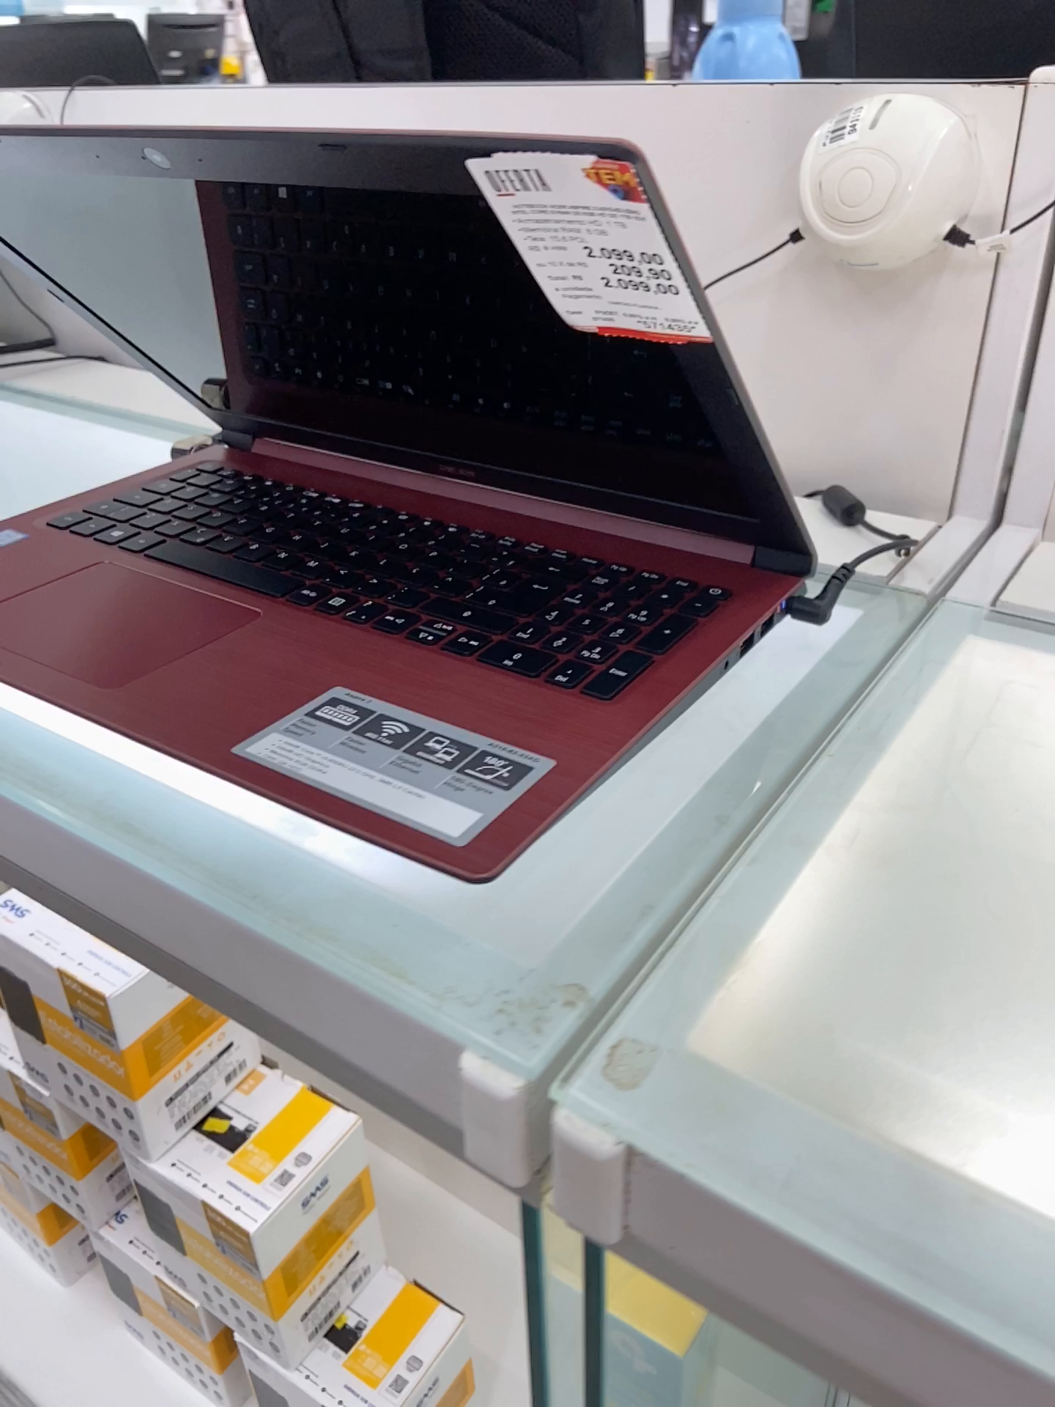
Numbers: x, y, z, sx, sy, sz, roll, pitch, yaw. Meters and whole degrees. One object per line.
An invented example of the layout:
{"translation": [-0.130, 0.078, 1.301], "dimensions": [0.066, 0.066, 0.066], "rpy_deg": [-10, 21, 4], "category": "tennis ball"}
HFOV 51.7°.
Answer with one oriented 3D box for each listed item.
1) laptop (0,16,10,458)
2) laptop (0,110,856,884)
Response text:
{"translation": [-0.648, -0.365, 0.794], "dimensions": [0.328, 0.230, 0.306], "rpy_deg": [20, 37, 30], "category": "laptop"}
{"translation": [-0.100, -0.128, 0.435], "dimensions": [0.368, 0.179, 0.239], "rpy_deg": [18, 36, 30], "category": "laptop"}
